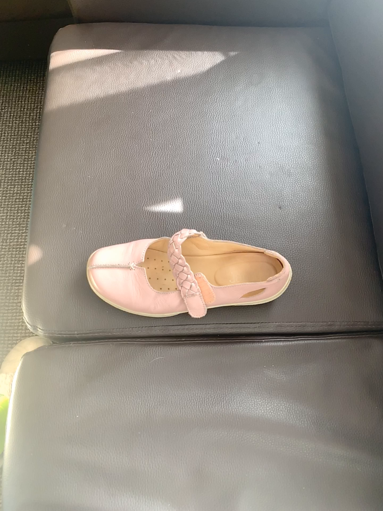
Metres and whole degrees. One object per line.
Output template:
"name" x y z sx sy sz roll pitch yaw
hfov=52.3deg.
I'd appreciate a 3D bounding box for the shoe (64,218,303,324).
"shoe" -0.007 0.023 0.485 0.260 0.100 0.104 1 73 3
